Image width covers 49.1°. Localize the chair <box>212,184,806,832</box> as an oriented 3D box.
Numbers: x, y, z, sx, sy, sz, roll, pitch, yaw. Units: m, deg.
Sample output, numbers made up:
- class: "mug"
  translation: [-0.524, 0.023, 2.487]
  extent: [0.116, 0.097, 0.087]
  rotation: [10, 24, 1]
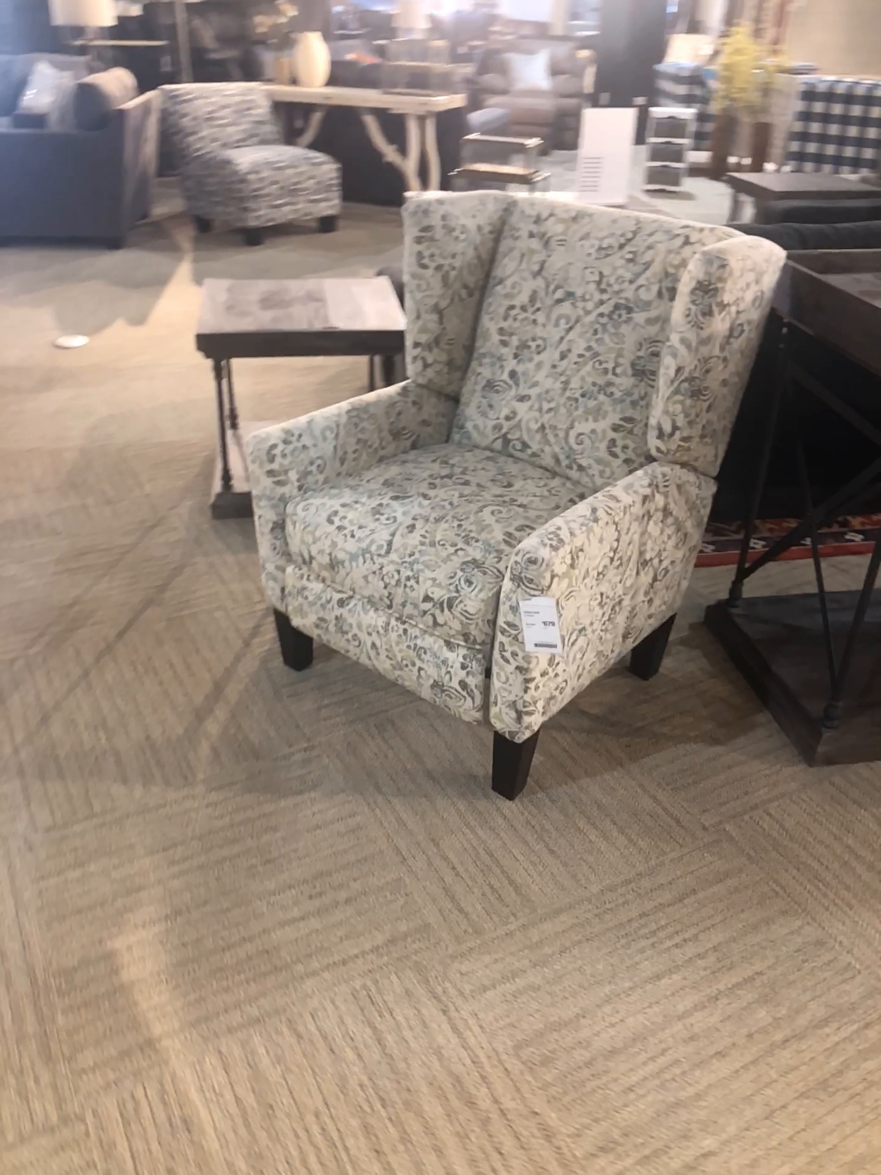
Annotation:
- class: "chair"
  translation: [0.124, -0.248, 2.054]
  extent: [0.781, 0.975, 0.803]
  rotation: [27, 39, 36]
